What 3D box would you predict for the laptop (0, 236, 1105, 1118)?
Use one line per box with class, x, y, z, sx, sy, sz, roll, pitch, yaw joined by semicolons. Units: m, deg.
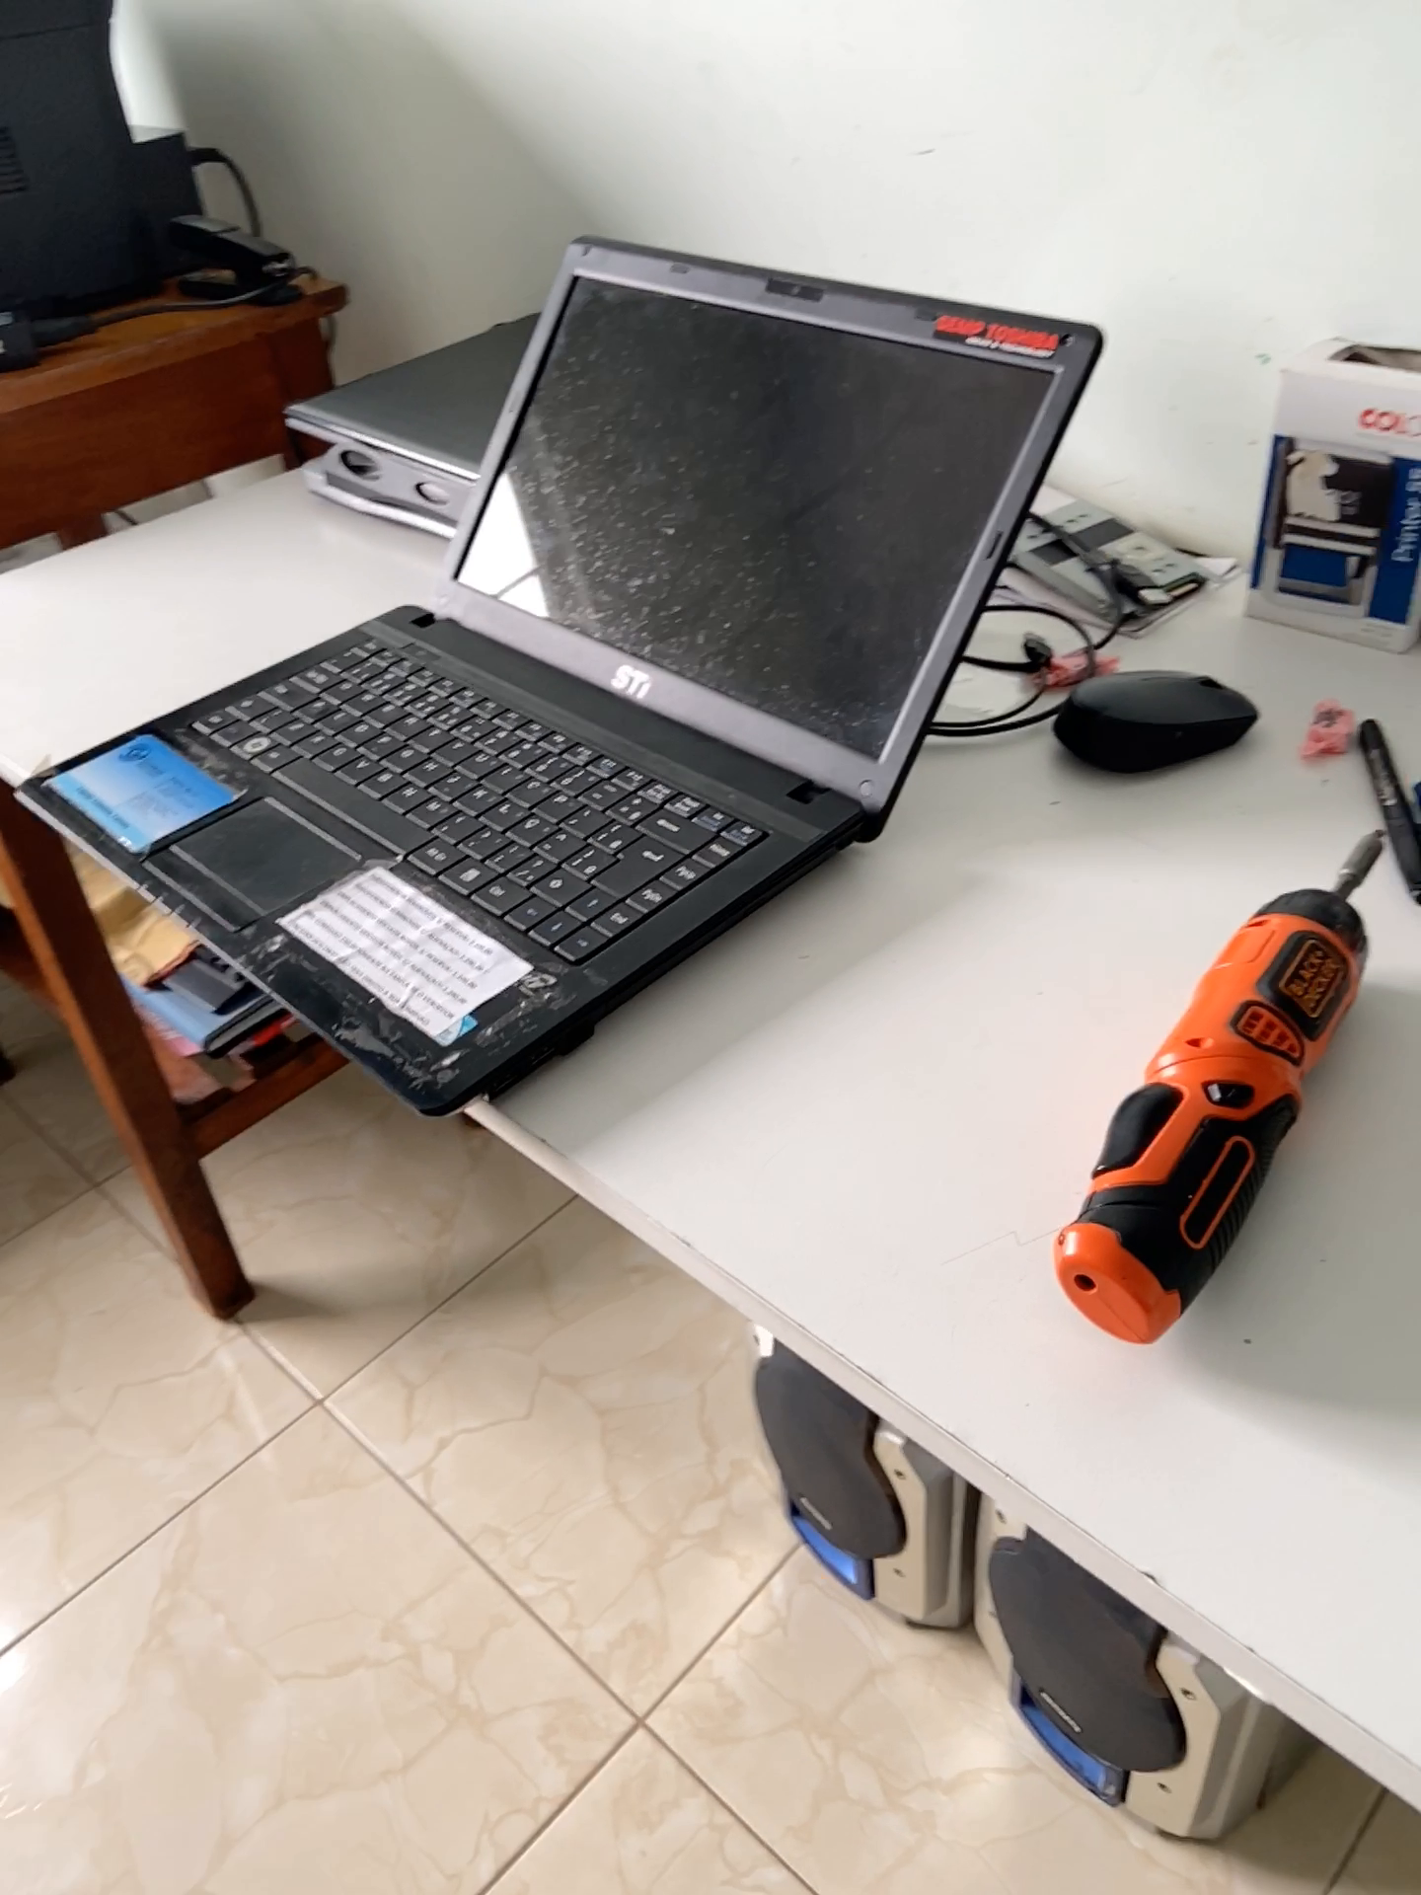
laptop;-0.086;-0.165;0.647;0.385;0.159;0.336;-35;46;-31
